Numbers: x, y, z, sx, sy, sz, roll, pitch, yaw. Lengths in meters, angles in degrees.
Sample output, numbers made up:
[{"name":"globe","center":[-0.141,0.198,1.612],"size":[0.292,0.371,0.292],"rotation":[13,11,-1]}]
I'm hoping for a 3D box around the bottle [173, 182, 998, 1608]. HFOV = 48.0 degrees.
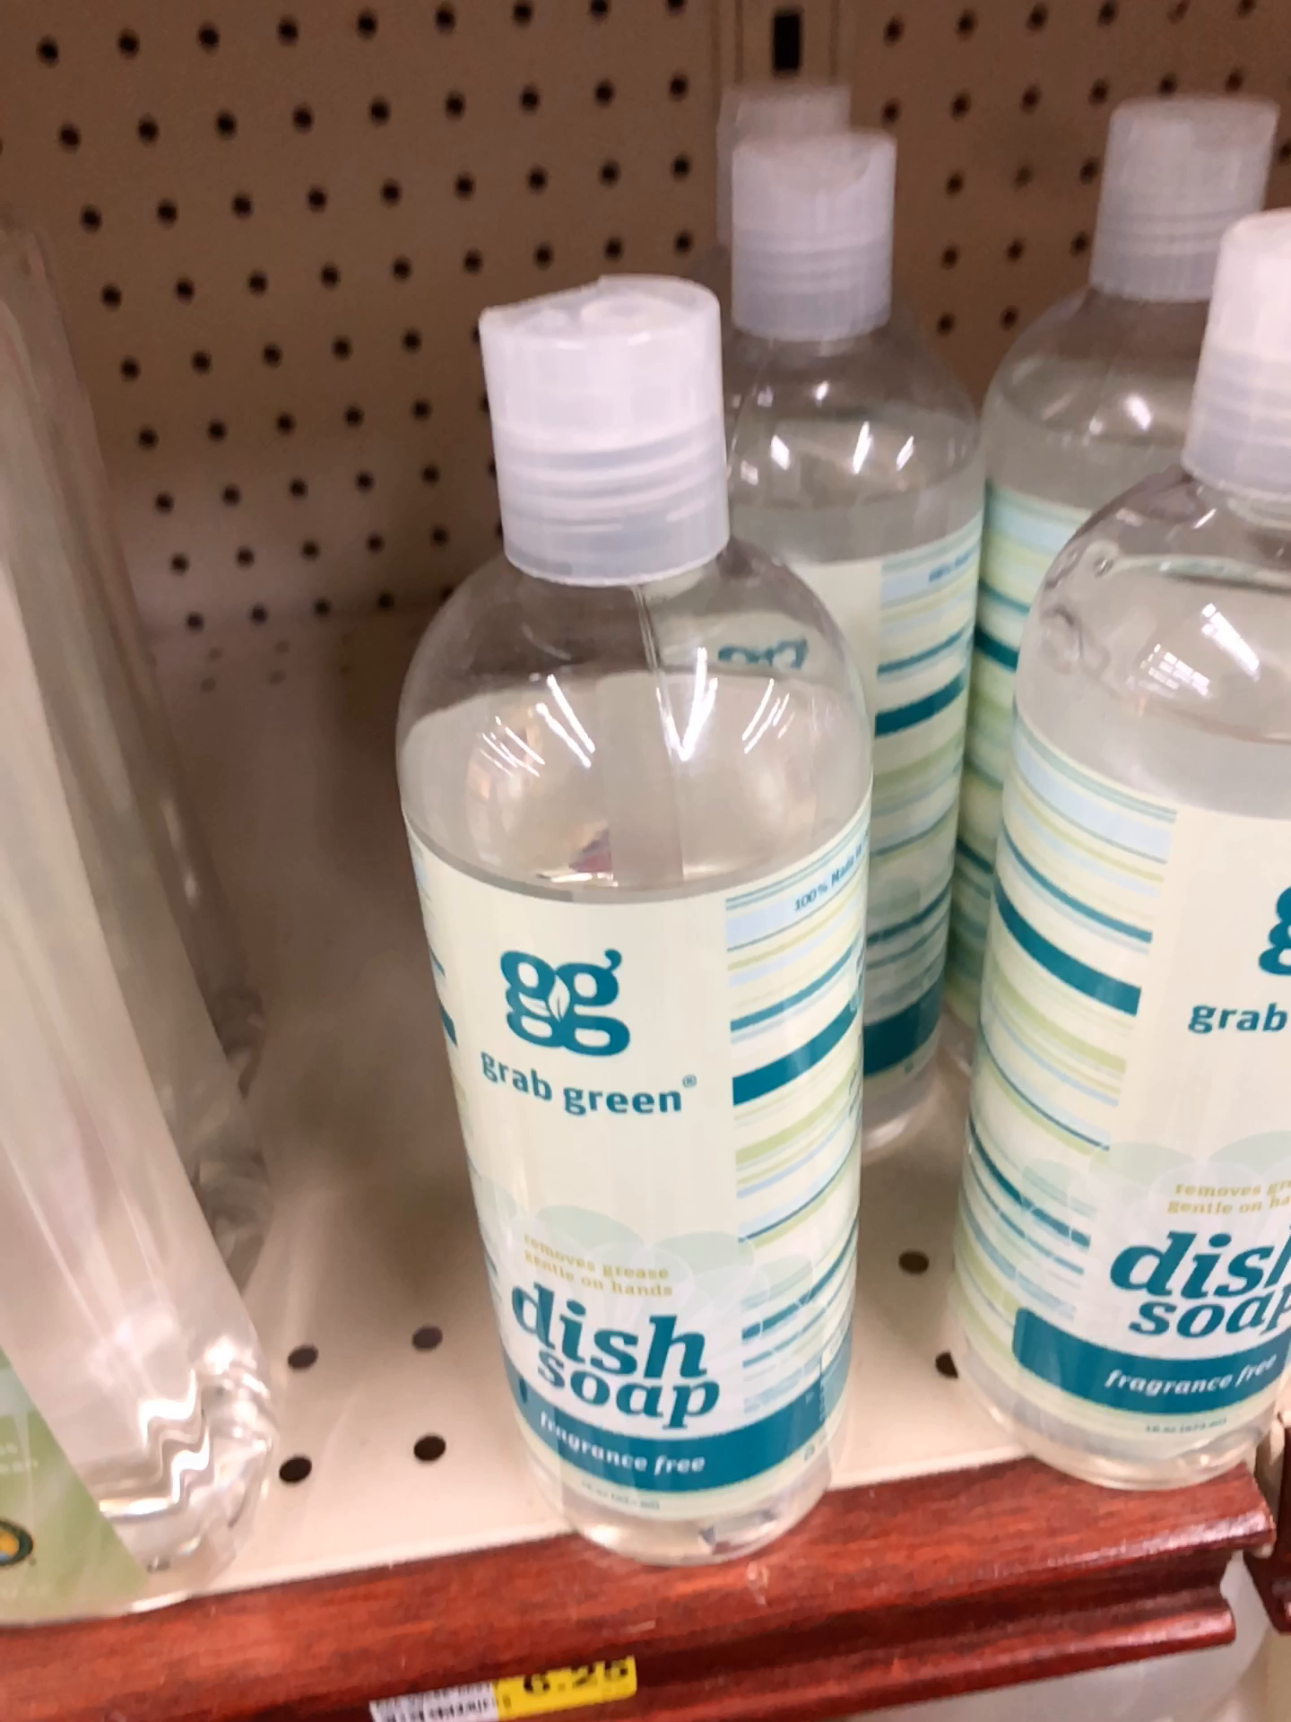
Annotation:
[{"name":"bottle","center":[0.003,0.019,0.205],"size":[0.070,0.200,0.060],"rotation":[6,37,12]}]
